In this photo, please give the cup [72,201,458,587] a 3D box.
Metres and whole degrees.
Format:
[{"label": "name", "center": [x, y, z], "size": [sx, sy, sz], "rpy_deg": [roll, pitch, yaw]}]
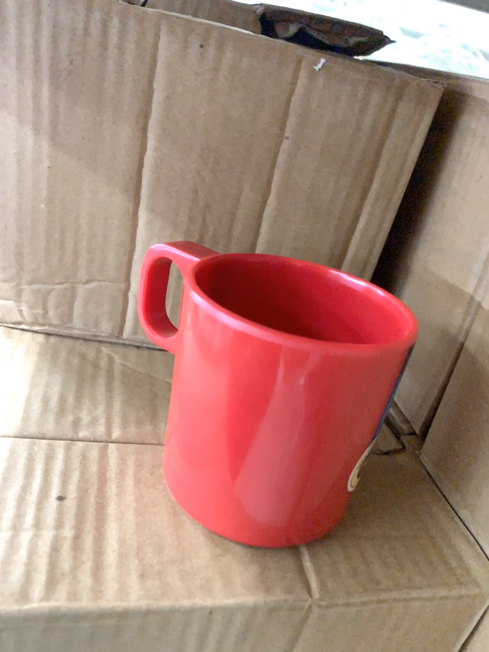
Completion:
[{"label": "cup", "center": [-0.001, 0.010, 0.189], "size": [0.110, 0.079, 0.070], "rpy_deg": [30, 31, 34]}]
